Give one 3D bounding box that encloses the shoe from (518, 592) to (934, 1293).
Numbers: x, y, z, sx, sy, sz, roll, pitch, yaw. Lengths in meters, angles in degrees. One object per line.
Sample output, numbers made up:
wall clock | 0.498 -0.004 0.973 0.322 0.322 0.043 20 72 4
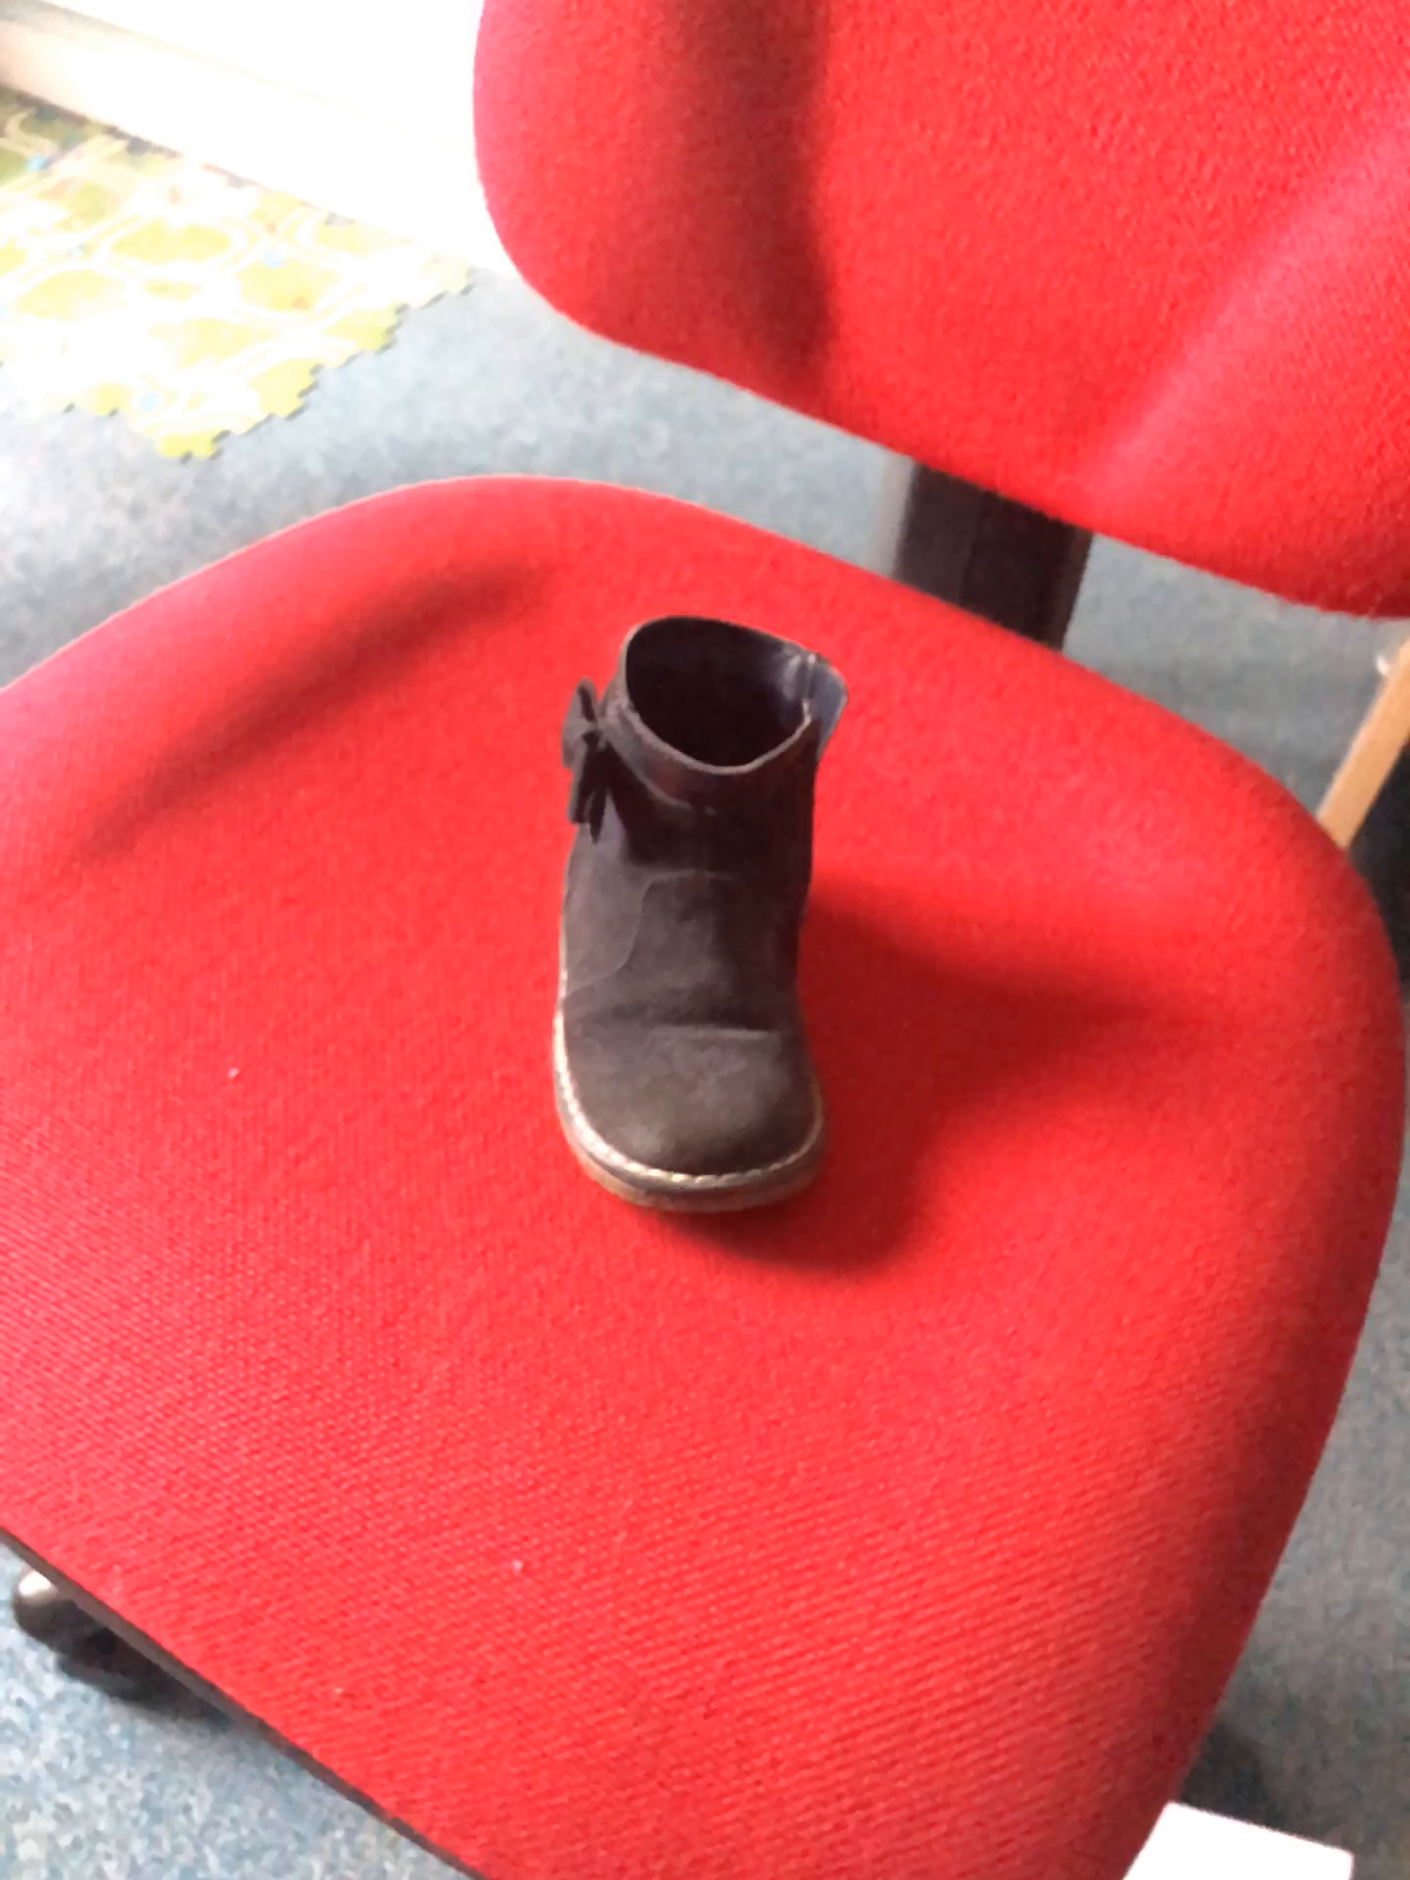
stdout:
shoe | -0.003 -0.002 0.411 0.080 0.099 0.151 -3 51 -7
